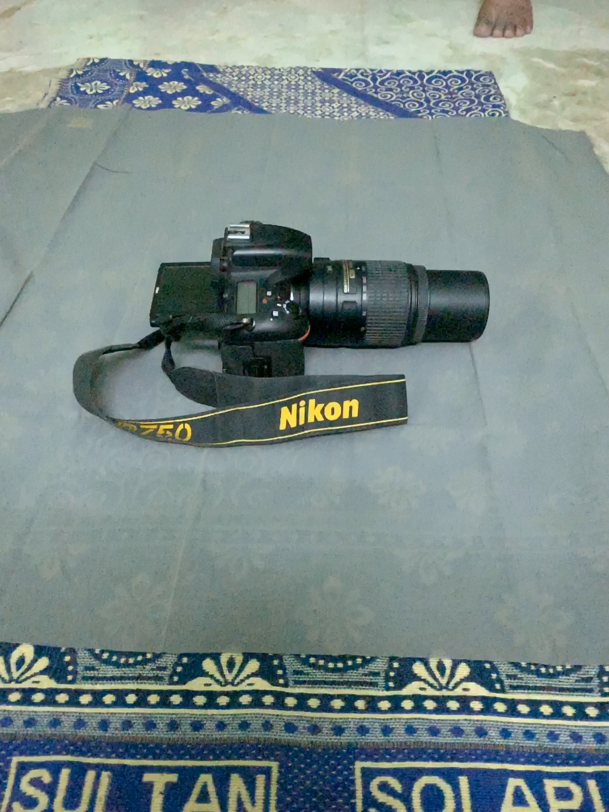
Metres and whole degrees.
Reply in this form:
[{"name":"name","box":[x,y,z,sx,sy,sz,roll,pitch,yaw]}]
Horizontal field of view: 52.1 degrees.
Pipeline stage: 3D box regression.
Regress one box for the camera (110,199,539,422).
[{"name":"camera","box":[0.014,-0.079,0.508,0.288,0.110,0.147,0,48,0]}]
